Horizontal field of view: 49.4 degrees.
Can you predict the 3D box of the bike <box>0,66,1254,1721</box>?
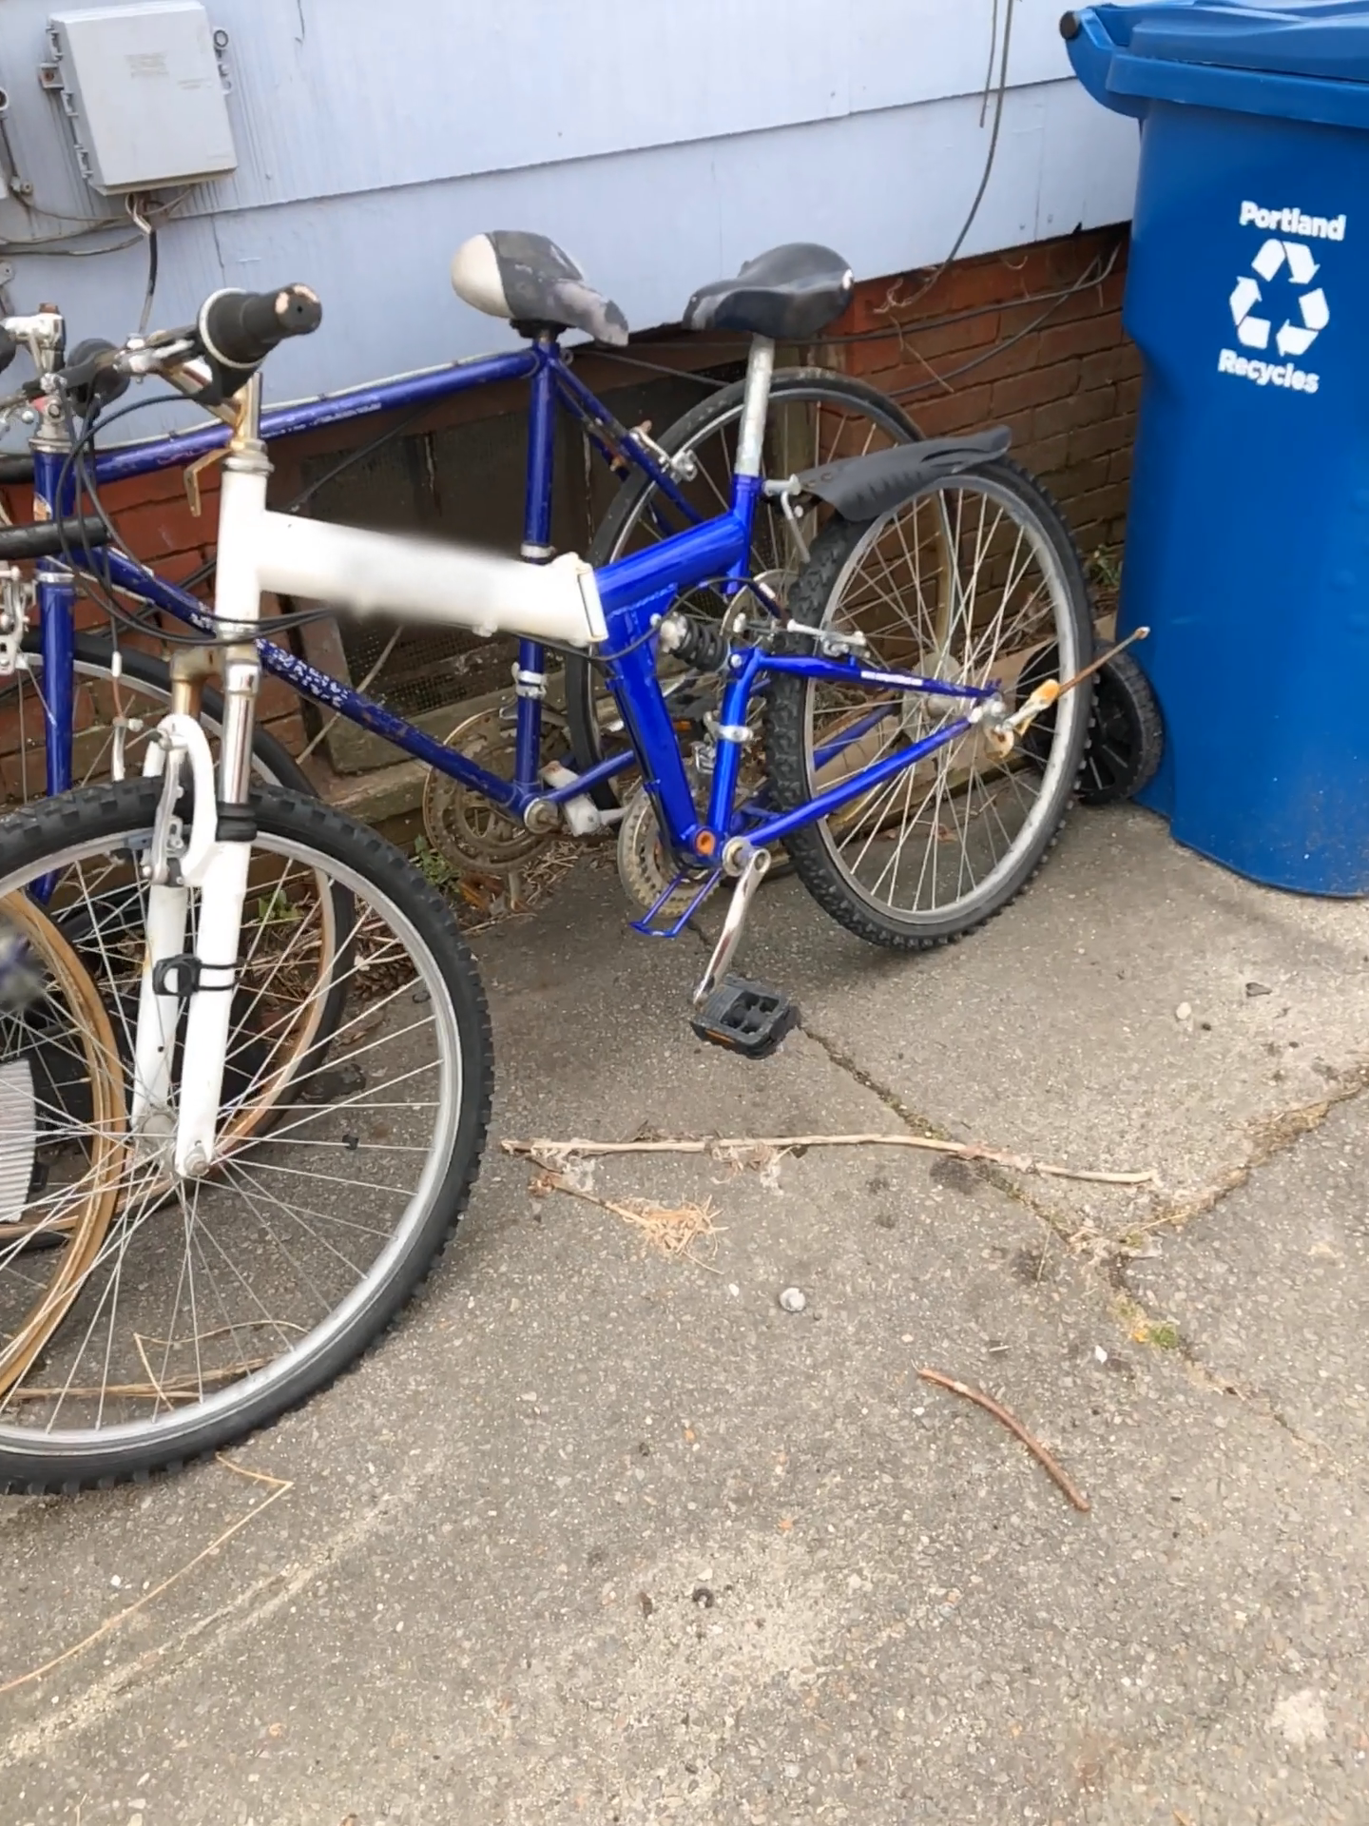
[{"bbox_3d":[-0.168,-0.203,1.658,1.733,0.979,0.564,-33,44,-31],"label":"bike"}]
